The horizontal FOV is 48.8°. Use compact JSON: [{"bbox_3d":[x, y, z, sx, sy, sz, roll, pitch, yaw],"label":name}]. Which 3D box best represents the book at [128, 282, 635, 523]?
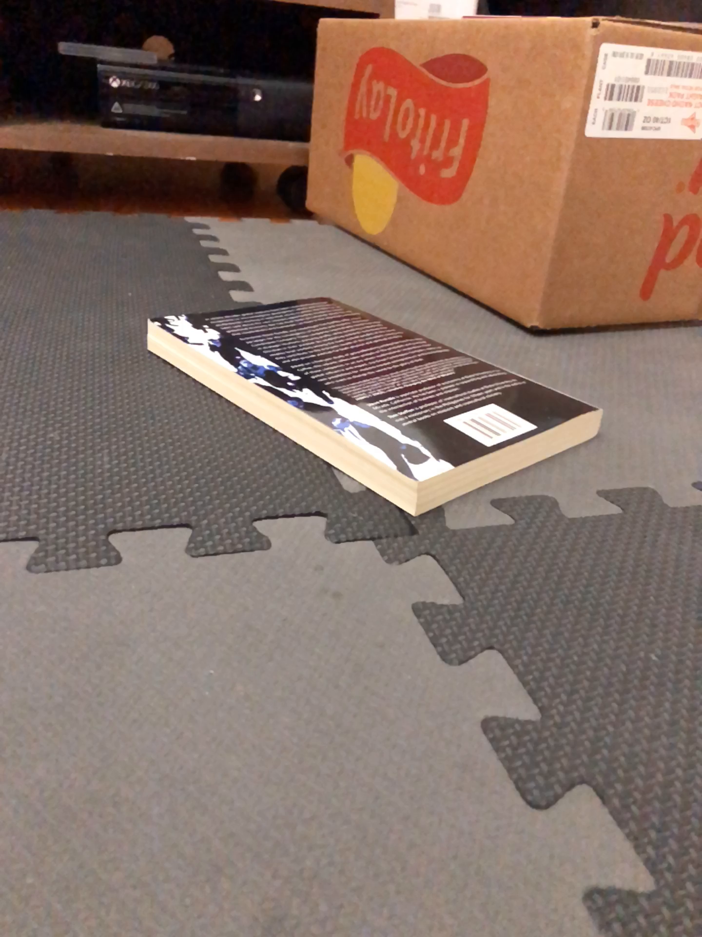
[{"bbox_3d":[0.007,-0.053,0.413,0.151,0.020,0.230,-20,37,-39],"label":"book"}]

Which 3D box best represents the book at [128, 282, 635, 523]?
[{"bbox_3d":[0.007,-0.053,0.413,0.151,0.020,0.230,-20,37,-39],"label":"book"}]
